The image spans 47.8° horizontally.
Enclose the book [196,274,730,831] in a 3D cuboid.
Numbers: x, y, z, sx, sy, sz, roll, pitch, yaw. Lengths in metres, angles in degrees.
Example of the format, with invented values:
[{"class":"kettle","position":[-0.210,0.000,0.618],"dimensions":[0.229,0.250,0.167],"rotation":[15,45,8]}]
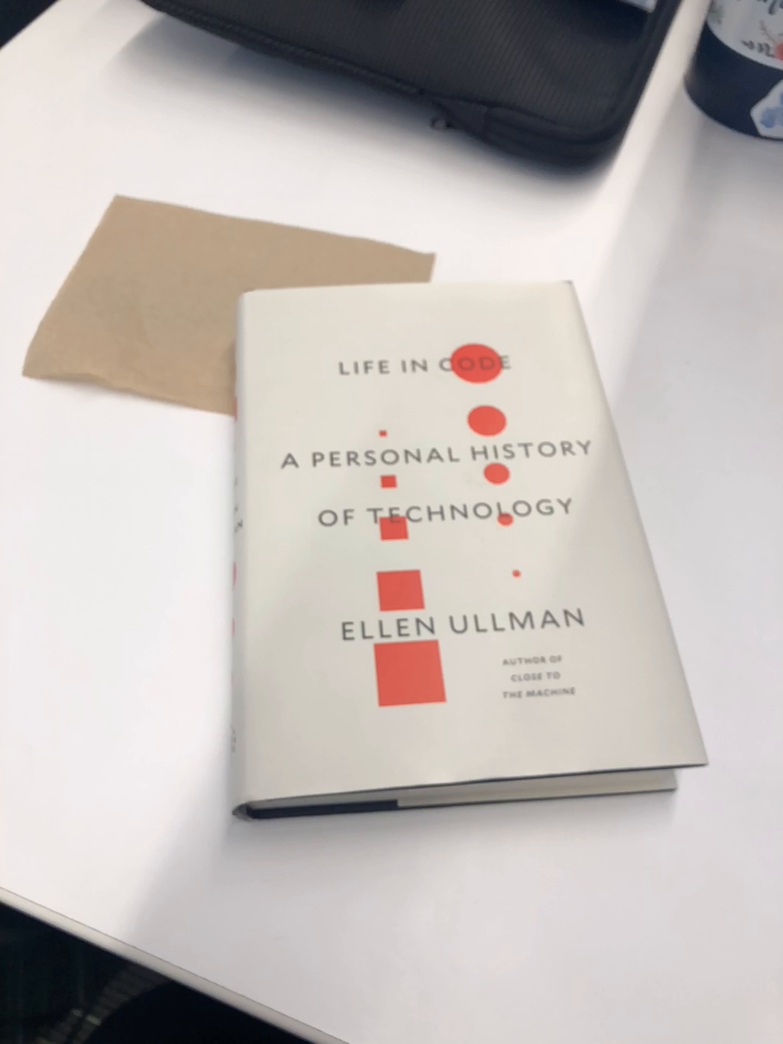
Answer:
[{"class":"book","position":[0.014,-0.005,0.334],"dimensions":[0.160,0.030,0.221],"rotation":[-2,57,-5]}]
